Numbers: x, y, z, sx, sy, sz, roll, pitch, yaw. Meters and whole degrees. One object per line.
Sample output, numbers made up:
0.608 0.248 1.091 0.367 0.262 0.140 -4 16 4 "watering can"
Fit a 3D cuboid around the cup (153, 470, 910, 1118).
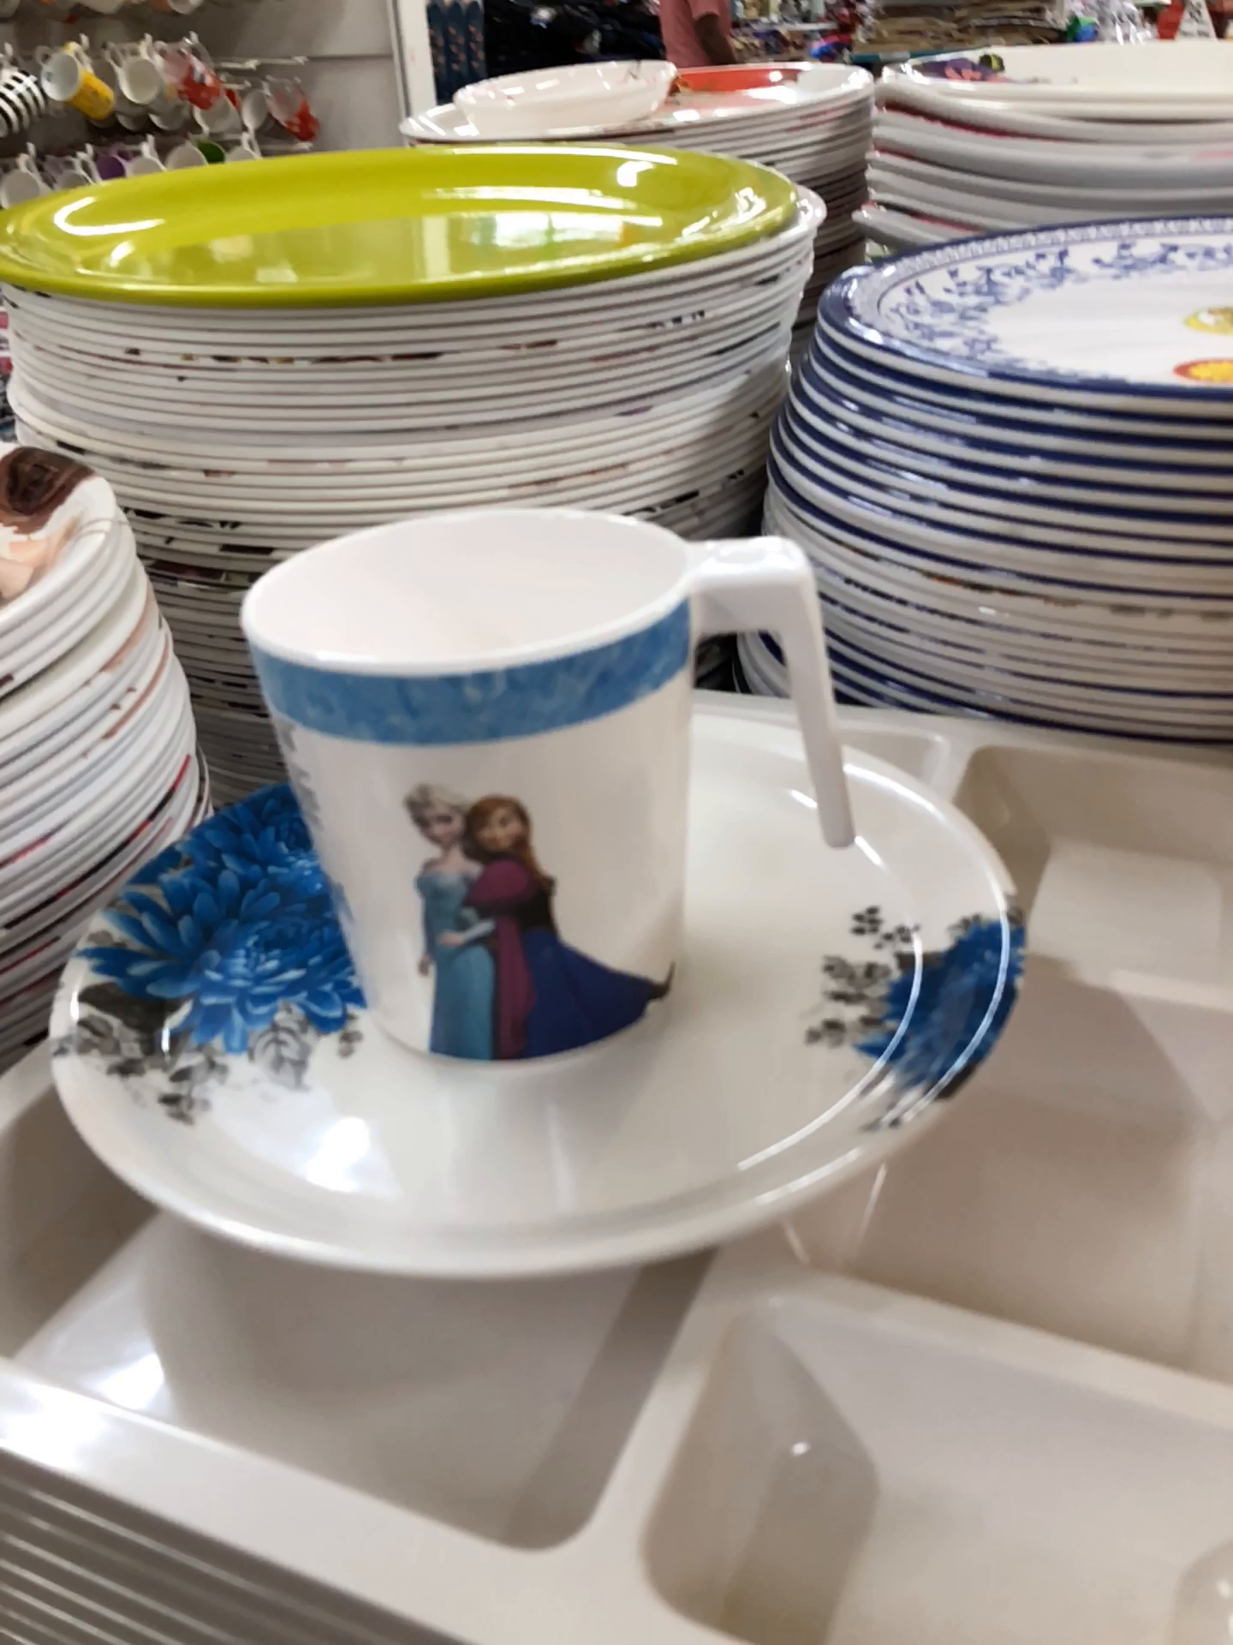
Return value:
-0.008 -0.007 0.252 0.110 0.089 0.081 -1 31 5 "cup"
